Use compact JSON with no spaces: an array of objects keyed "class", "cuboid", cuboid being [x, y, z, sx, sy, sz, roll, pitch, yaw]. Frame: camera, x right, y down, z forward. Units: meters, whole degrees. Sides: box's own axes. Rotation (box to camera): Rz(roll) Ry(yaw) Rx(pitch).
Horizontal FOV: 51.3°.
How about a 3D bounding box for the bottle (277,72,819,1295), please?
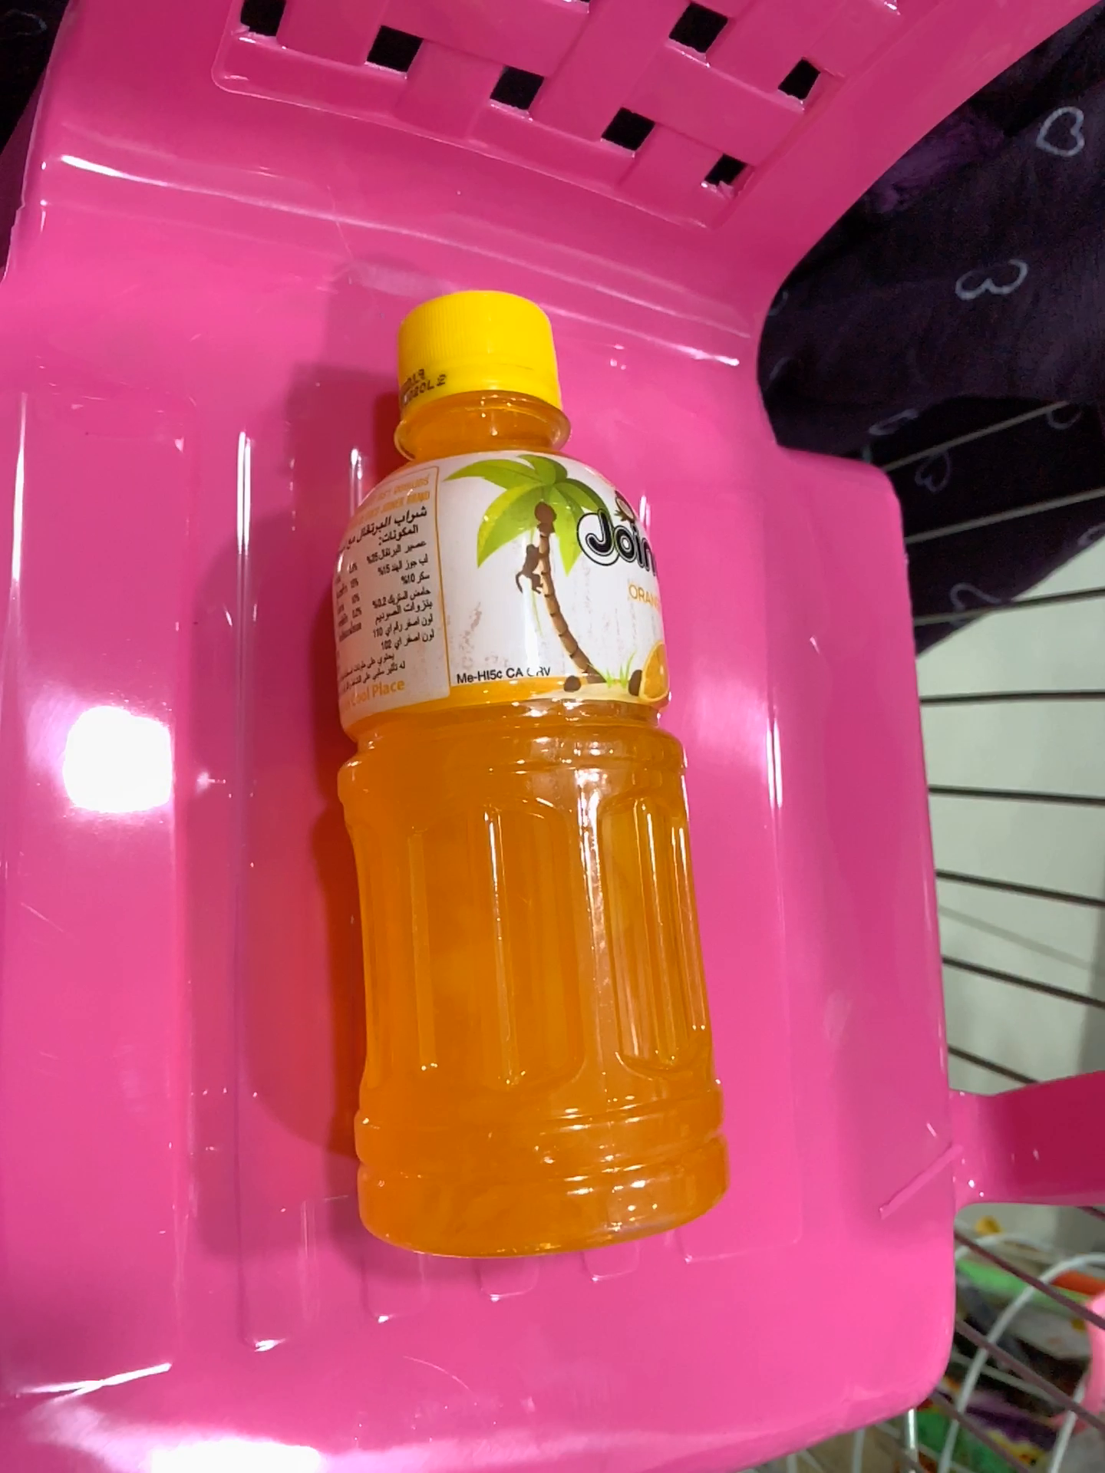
[{"class":"bottle","cuboid":[-0.001,-0.007,0.204,0.070,0.060,0.170,5,82,-51]}]
